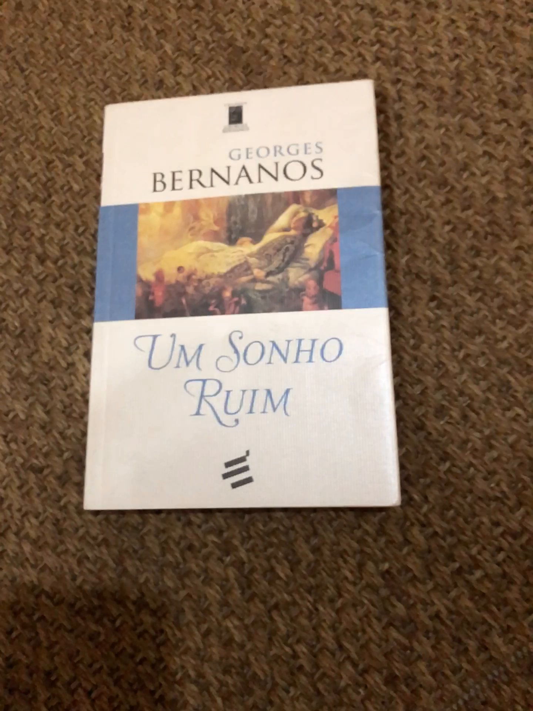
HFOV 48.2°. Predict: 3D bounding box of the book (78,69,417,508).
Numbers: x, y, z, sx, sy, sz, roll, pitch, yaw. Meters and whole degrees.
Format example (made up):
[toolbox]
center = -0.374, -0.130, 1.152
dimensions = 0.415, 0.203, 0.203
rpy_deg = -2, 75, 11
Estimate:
[book]
center = -0.011, -0.033, 0.276
dimensions = 0.140, 0.020, 0.199
rpy_deg = -3, 76, 7
